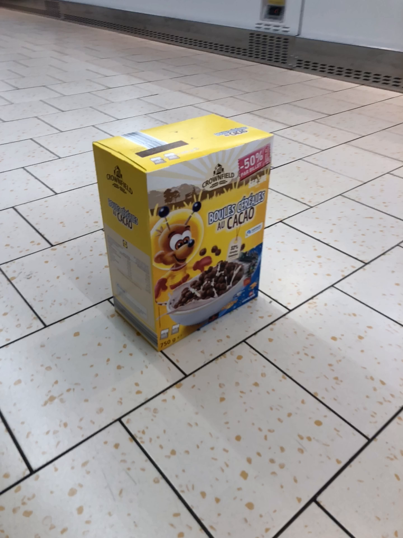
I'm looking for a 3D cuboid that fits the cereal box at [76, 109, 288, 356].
[{"bbox_3d":[-0.020,-0.056,0.578,0.211,0.239,0.130,-24,41,-32],"label":"cereal box"}]
